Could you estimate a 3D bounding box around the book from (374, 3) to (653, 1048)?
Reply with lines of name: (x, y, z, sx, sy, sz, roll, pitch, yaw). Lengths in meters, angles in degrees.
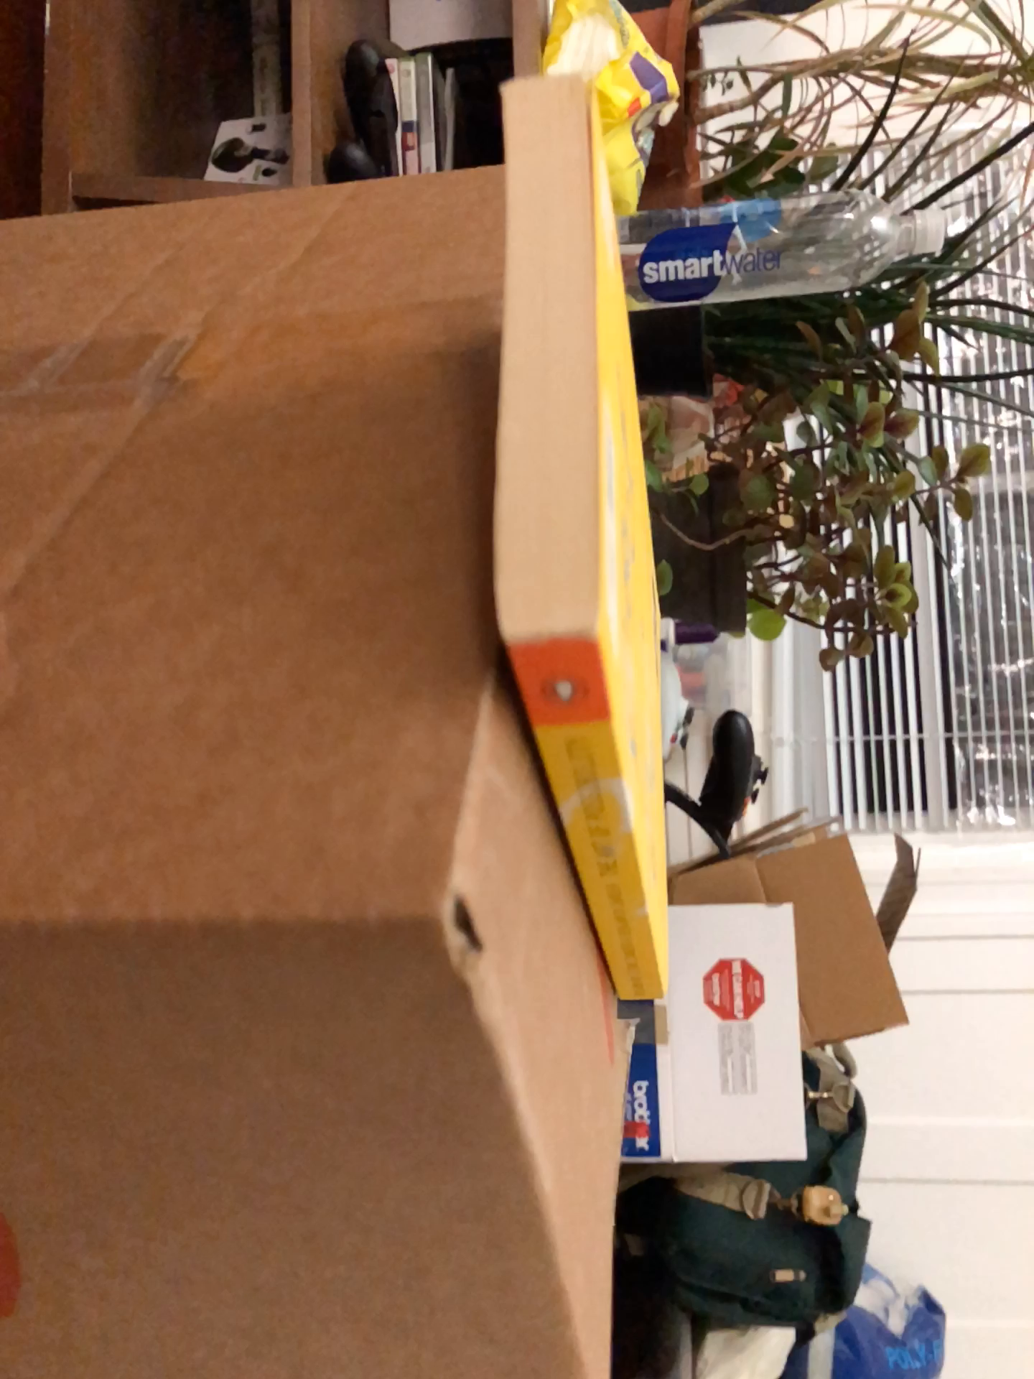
book: (0.013, -0.014, 0.273, 0.210, 0.020, 0.150, 70, 20, -59)
